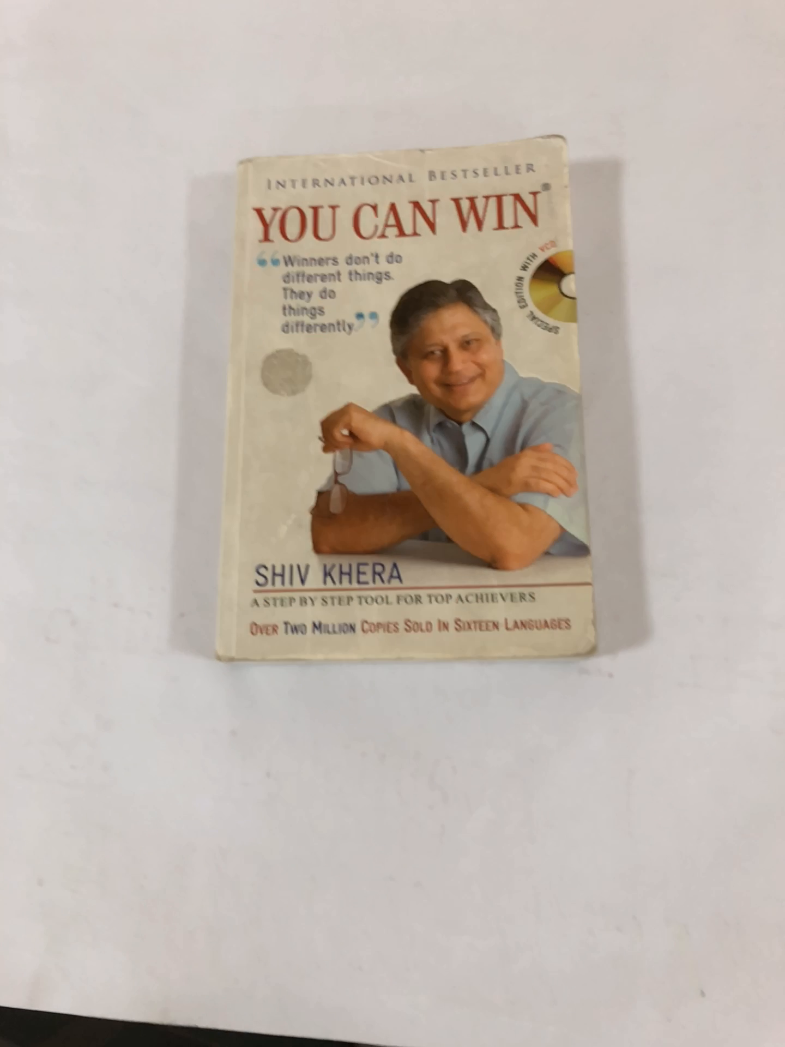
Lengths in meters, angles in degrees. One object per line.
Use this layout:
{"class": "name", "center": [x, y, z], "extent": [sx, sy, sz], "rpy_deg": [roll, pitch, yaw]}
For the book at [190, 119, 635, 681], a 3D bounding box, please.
{"class": "book", "center": [0.005, -0.048, 0.340], "extent": [0.150, 0.040, 0.210], "rpy_deg": [-2, 76, 3]}
